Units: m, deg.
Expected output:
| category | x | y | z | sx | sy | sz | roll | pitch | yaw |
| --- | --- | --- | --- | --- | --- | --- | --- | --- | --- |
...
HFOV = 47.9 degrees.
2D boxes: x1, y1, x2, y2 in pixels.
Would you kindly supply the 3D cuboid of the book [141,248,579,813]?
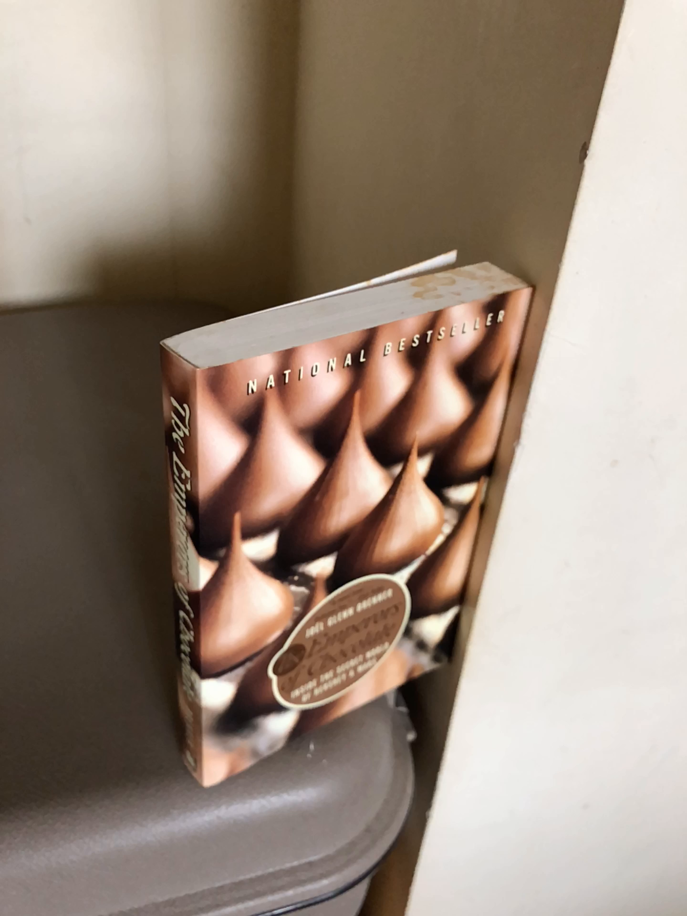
| category | x | y | z | sx | sy | sz | roll | pitch | yaw |
| --- | --- | --- | --- | --- | --- | --- | --- | --- | --- |
| book | 0.008 | 0.029 | 0.319 | 0.160 | 0.199 | 0.040 | -21 | 41 | -33 |
